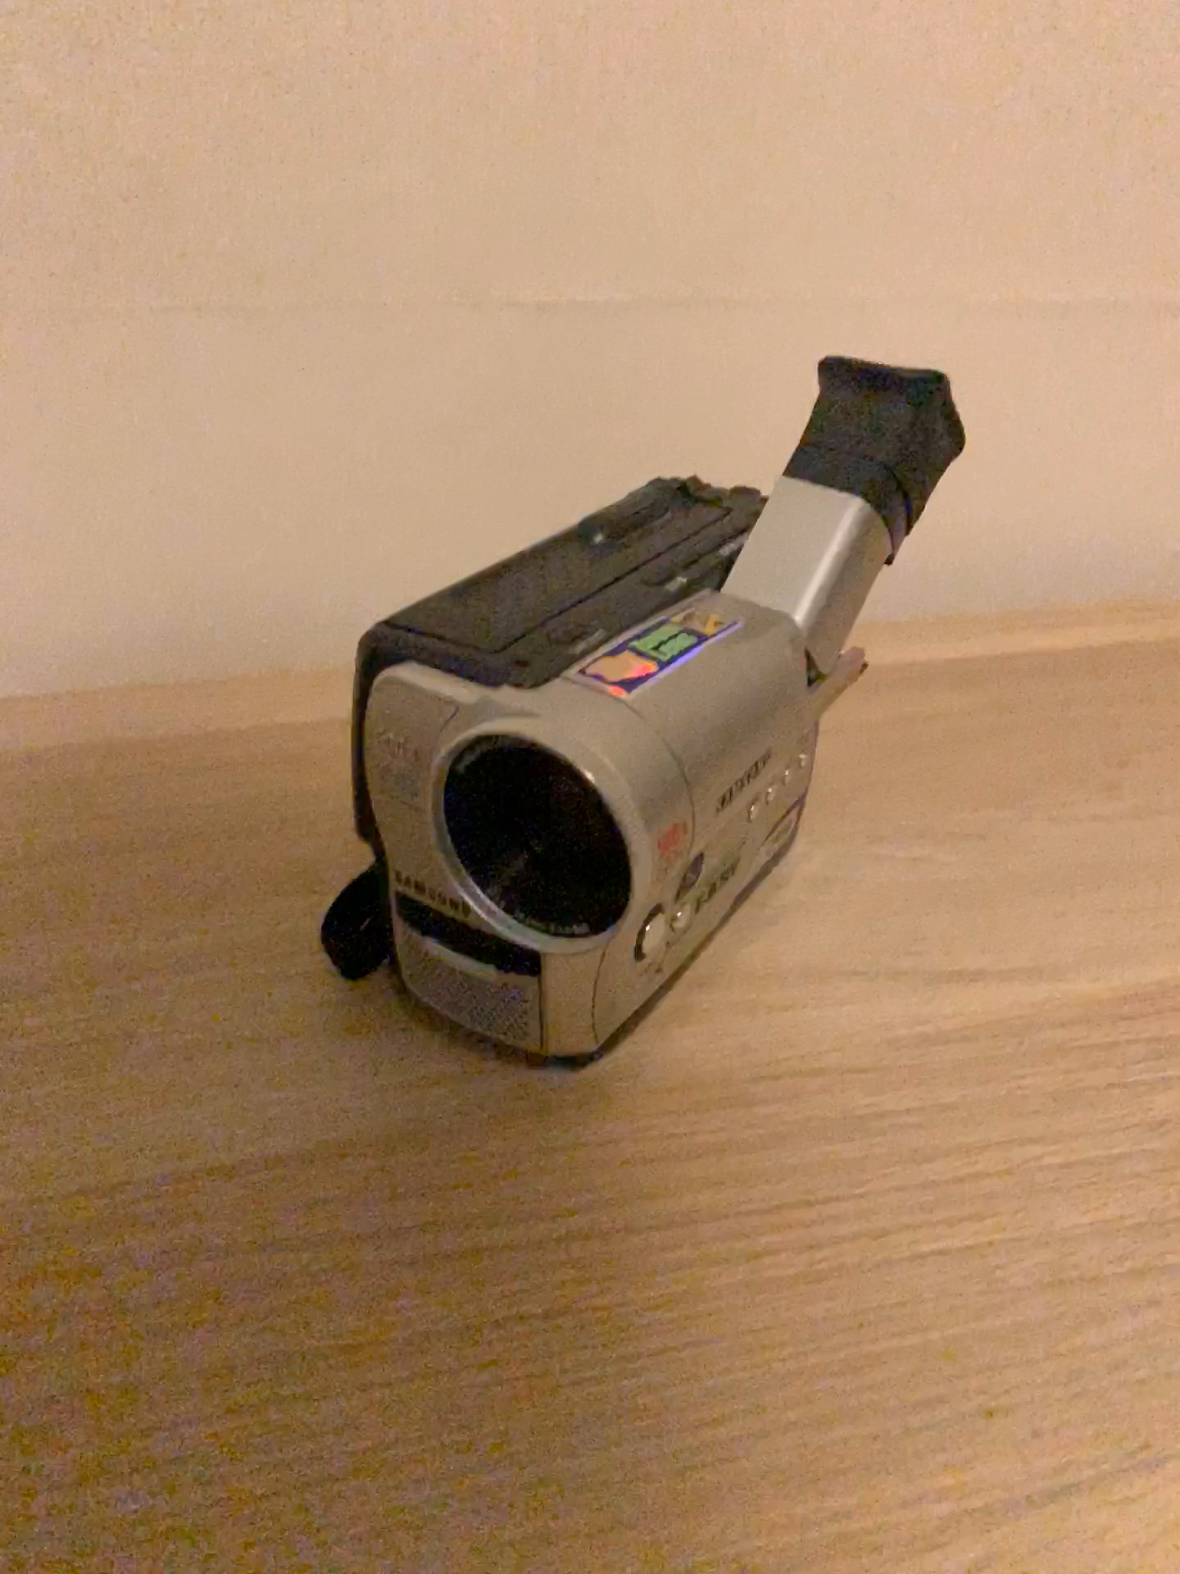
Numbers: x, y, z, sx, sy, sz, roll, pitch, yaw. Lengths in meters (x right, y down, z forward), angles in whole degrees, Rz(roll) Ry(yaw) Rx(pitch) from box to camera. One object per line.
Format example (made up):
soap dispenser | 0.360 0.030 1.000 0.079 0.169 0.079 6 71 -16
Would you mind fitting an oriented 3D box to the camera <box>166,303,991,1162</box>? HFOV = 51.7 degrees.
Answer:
camera | 0.012 -0.037 0.310 0.106 0.133 0.193 18 32 25
